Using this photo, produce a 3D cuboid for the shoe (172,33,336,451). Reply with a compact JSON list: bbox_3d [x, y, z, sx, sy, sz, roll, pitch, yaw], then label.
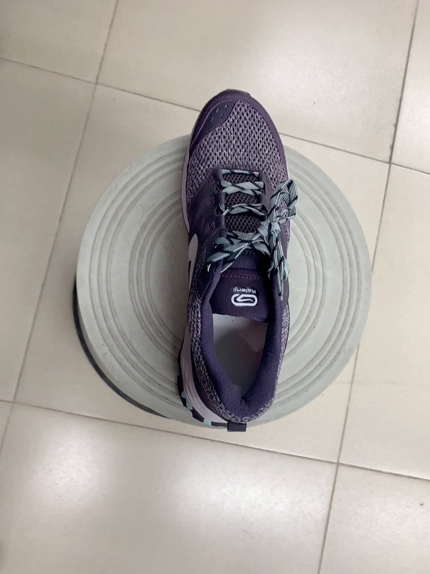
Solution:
[{"bbox_3d":[0.026,-0.030,0.365,0.100,0.110,0.290,4,85,-7],"label":"shoe"}]
